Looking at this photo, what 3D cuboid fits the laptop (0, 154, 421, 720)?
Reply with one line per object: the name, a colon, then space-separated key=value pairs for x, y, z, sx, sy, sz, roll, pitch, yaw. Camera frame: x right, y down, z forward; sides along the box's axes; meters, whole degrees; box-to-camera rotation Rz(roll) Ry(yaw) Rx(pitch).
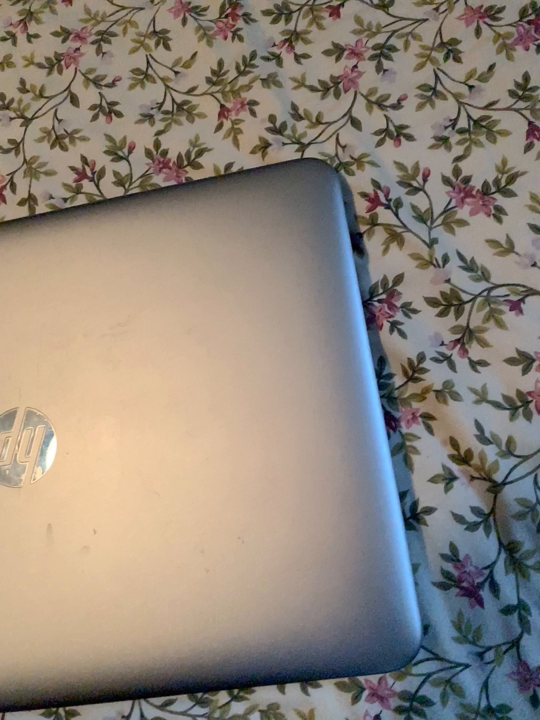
laptop: x=-0.121 y=0.039 z=0.269 sx=0.336 sy=0.010 sz=0.228 roll=-10 pitch=76 yaw=6
